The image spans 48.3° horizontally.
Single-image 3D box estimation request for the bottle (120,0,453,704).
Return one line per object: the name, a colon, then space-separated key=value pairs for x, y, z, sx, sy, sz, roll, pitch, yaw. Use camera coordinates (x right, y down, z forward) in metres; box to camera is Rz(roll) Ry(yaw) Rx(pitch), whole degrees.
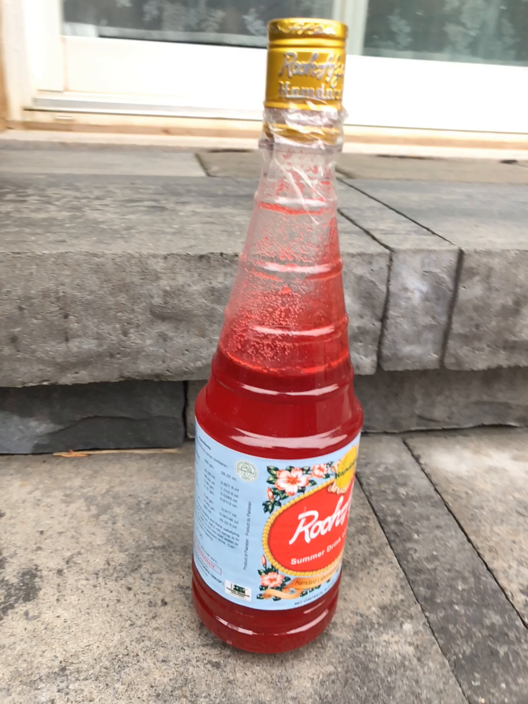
bottle: x=0.004 y=0.008 z=0.265 sx=0.080 sy=0.279 sz=0.090 roll=21 pitch=29 yaw=34
